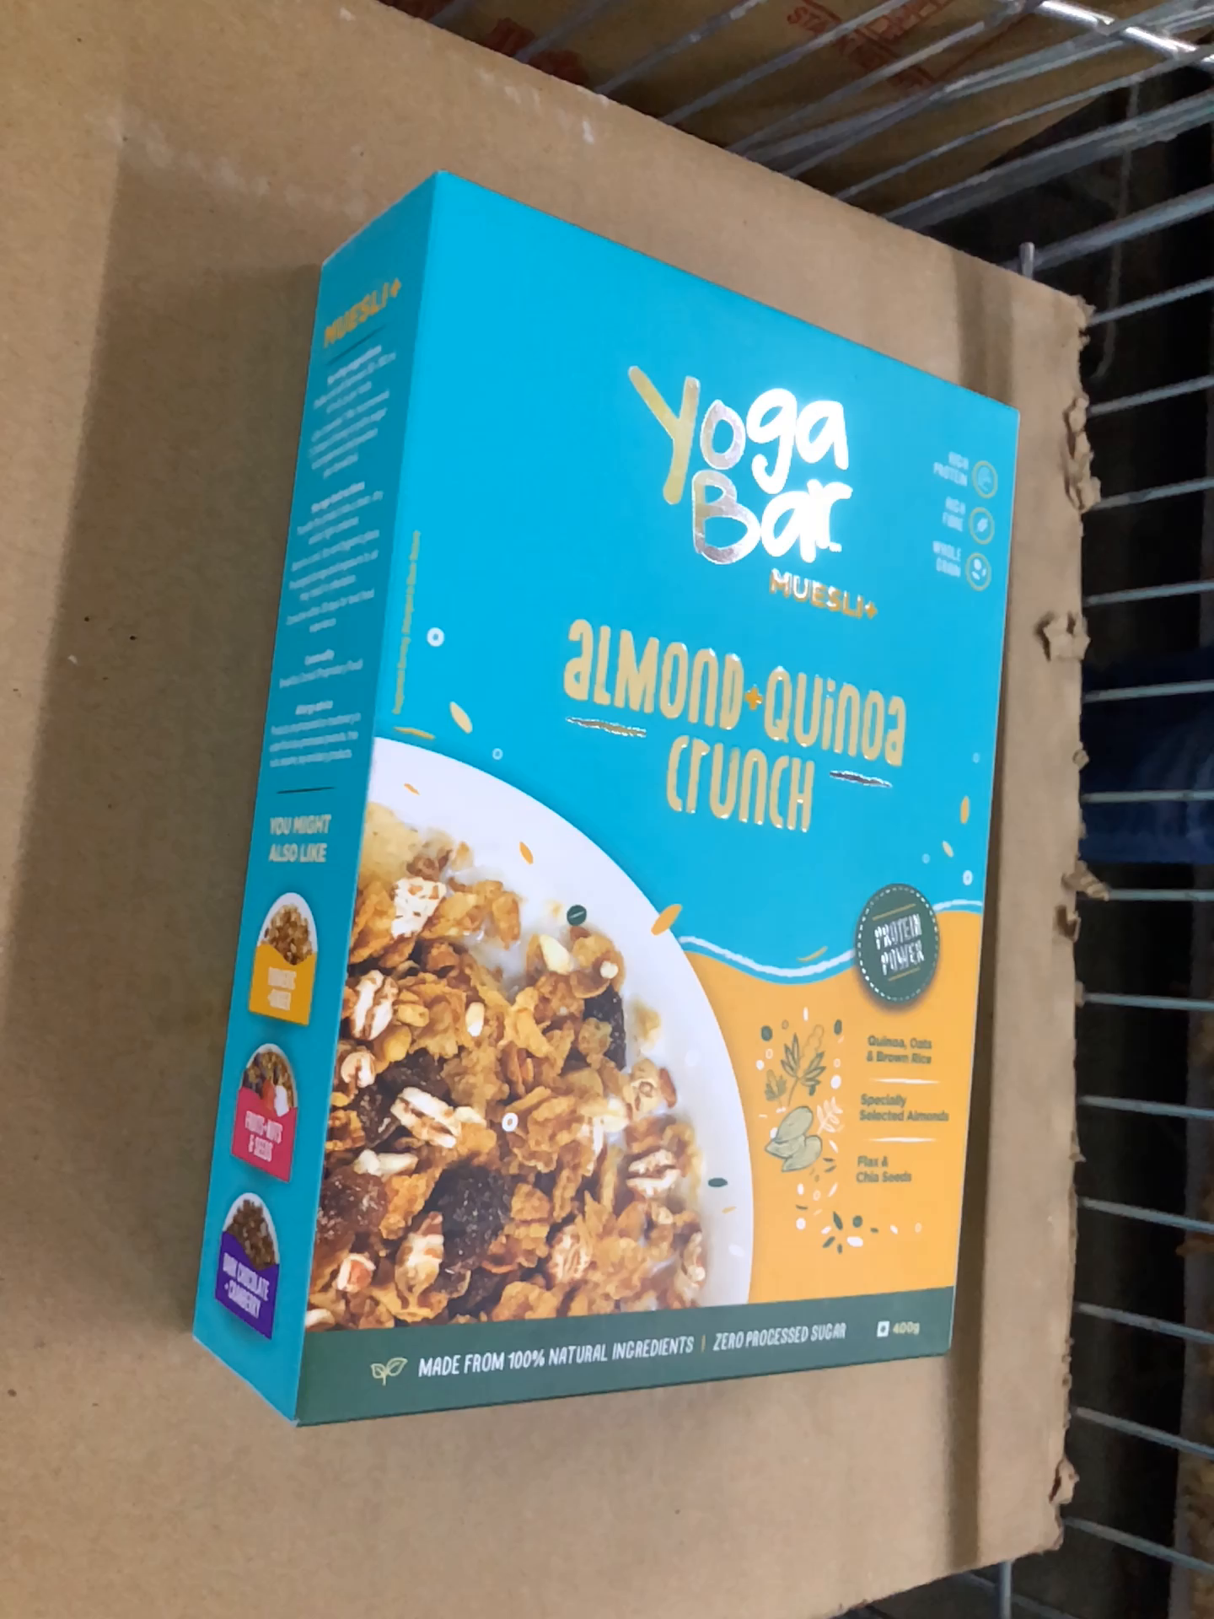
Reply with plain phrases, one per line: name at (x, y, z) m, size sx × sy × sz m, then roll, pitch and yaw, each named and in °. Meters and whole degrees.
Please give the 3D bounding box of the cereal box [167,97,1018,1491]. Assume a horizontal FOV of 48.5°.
cereal box at (0.005, 0.002, 0.305) m, size 0.160 × 0.070 × 0.240 m, roll 8°, pitch 85°, yaw -35°
